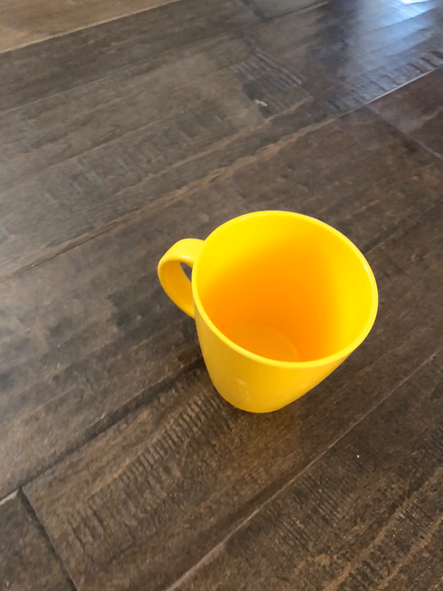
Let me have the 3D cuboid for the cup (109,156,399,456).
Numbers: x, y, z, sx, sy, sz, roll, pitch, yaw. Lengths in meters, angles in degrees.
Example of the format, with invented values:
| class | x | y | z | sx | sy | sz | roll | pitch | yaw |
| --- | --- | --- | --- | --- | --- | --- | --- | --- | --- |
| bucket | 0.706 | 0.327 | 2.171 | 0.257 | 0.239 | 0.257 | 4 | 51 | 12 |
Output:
| class | x | y | z | sx | sy | sz | roll | pitch | yaw |
| --- | --- | --- | --- | --- | --- | --- | --- | --- | --- |
| cup | 0.016 | 0.008 | 0.267 | 0.110 | 0.099 | 0.091 | 21 | 56 | 9 |
